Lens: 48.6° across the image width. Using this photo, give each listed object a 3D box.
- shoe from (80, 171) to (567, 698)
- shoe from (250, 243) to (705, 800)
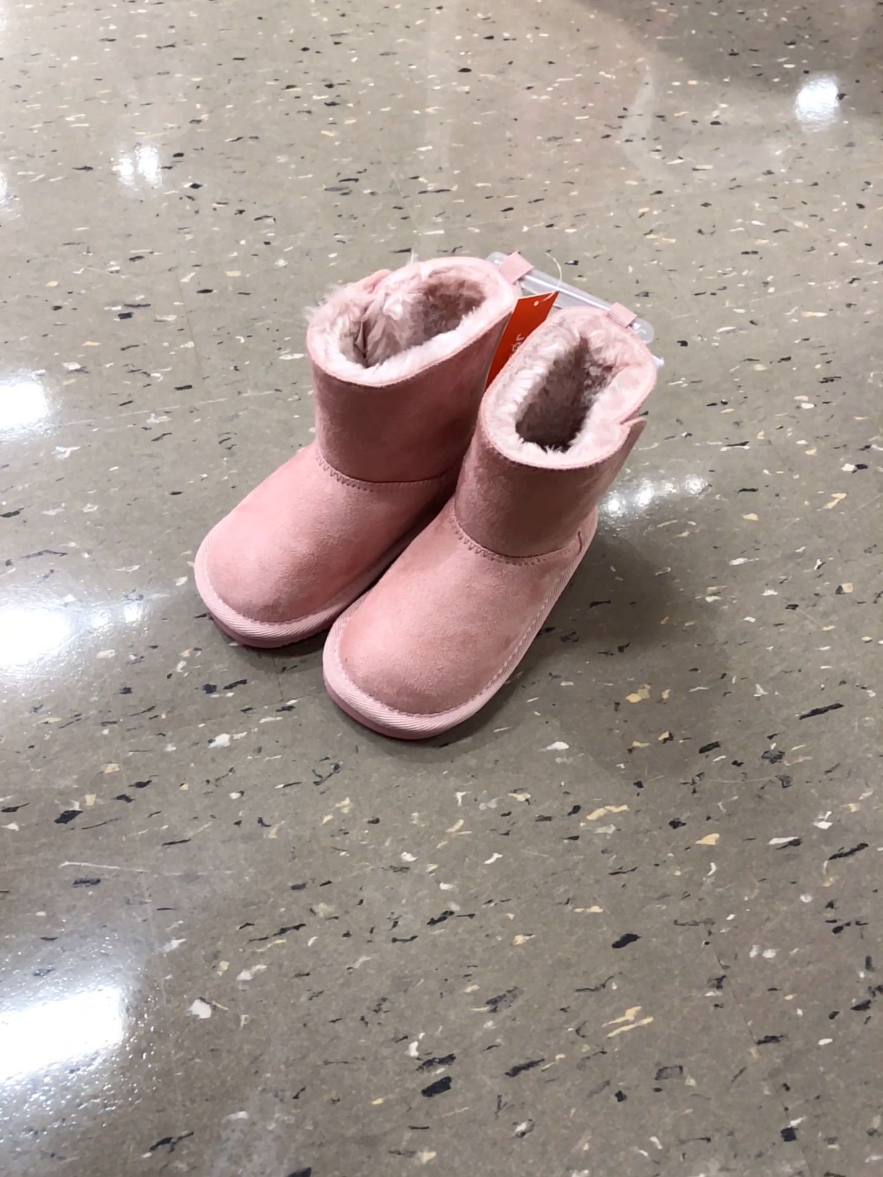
[{"bbox_3d":[-0.045,-0.063,0.428,0.160,0.150,0.090,-38,68,-24],"label":"shoe"},{"bbox_3d":[0.013,-0.024,0.413,0.090,0.150,0.160,32,61,15],"label":"shoe"}]
